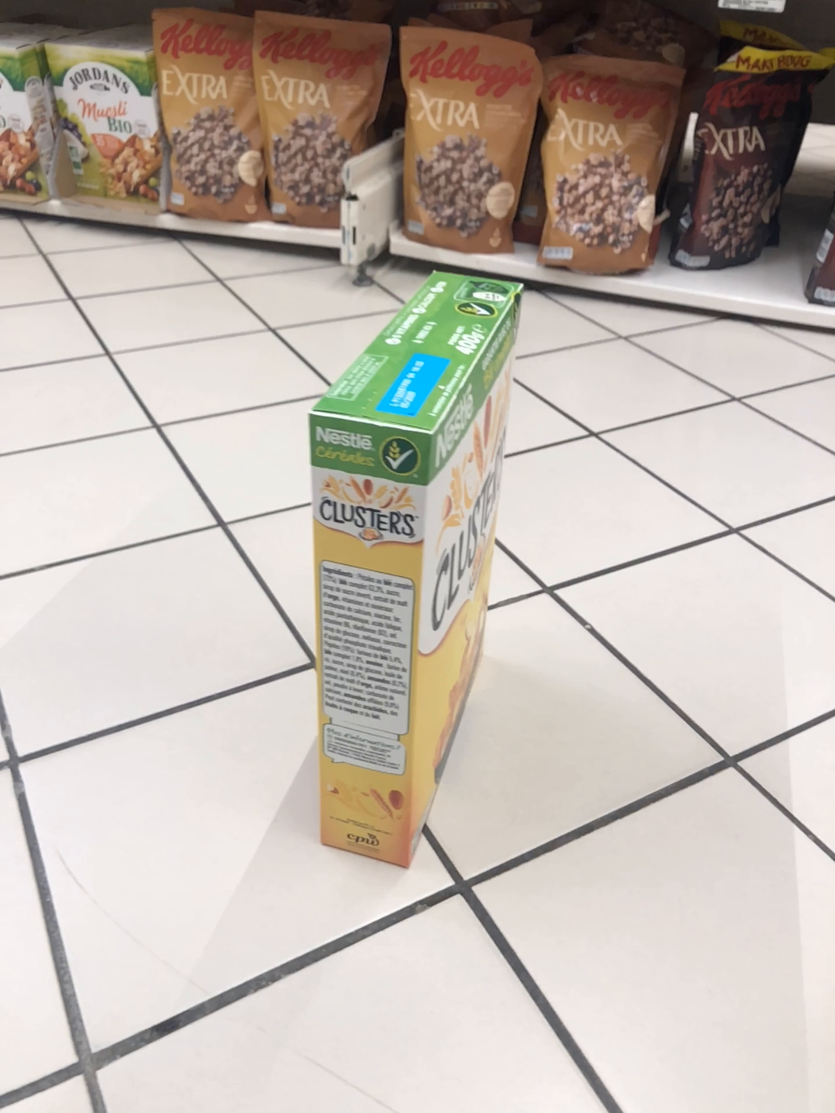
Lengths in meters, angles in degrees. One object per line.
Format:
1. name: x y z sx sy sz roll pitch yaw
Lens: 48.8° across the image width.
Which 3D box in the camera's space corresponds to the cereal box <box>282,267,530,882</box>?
1. cereal box: -0.001 0.005 0.518 0.060 0.268 0.211 11 35 12
